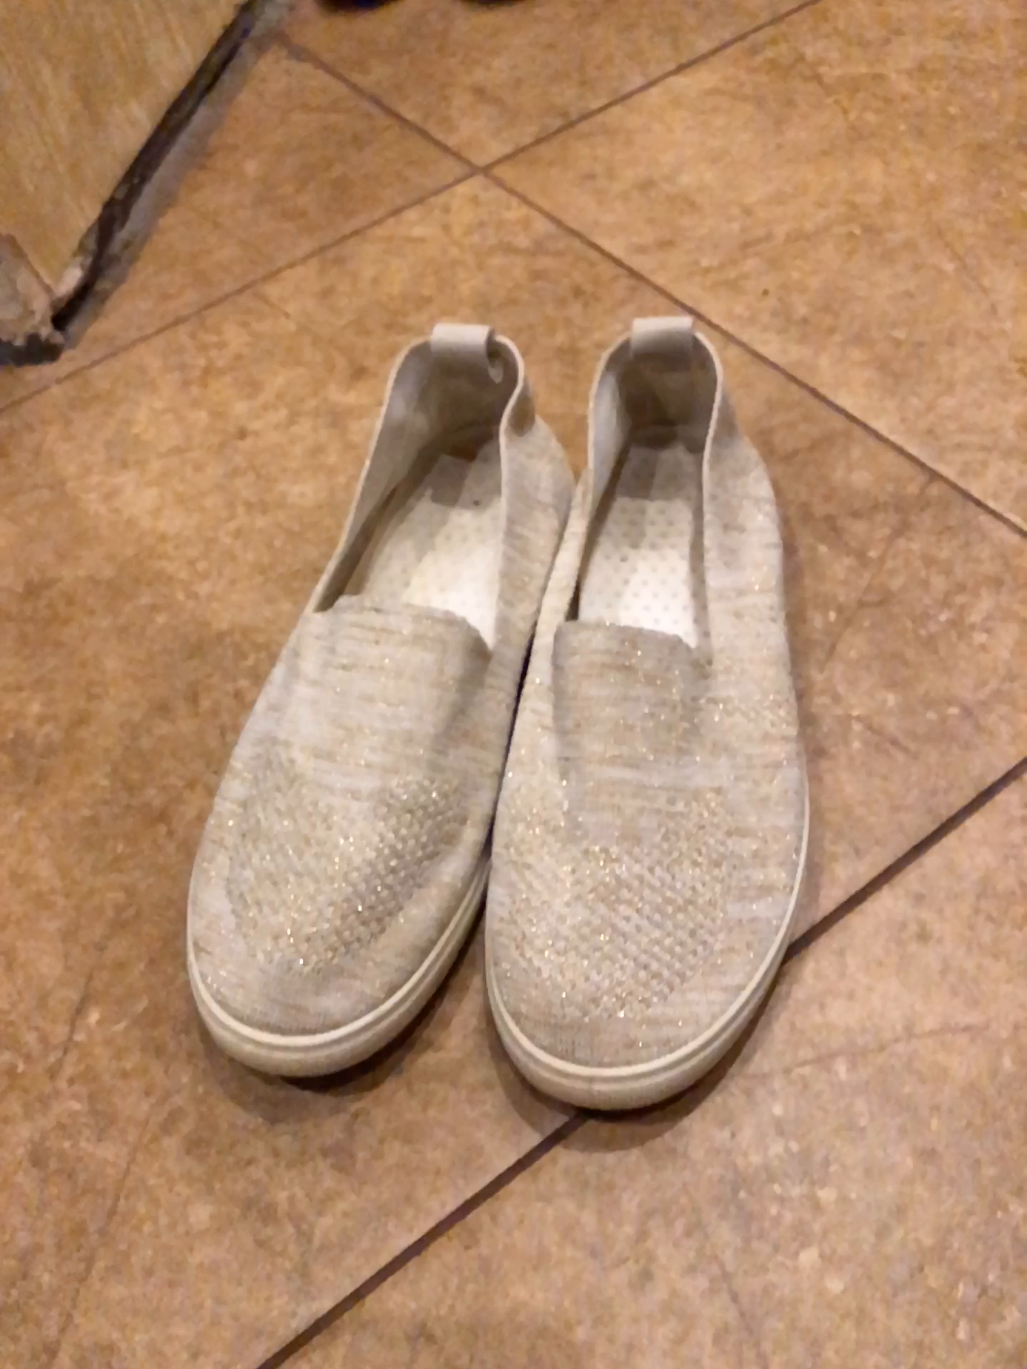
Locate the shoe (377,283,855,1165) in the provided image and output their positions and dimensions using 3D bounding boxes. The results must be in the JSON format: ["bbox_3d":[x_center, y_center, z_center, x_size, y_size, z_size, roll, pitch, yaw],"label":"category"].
[{"bbox_3d":[0.042,-0.007,0.346,0.100,0.080,0.261,2,54,10],"label":"shoe"}]

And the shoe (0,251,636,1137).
[{"bbox_3d":[-0.035,-0.016,0.336,0.090,0.080,0.251,8,55,15],"label":"shoe"}]
